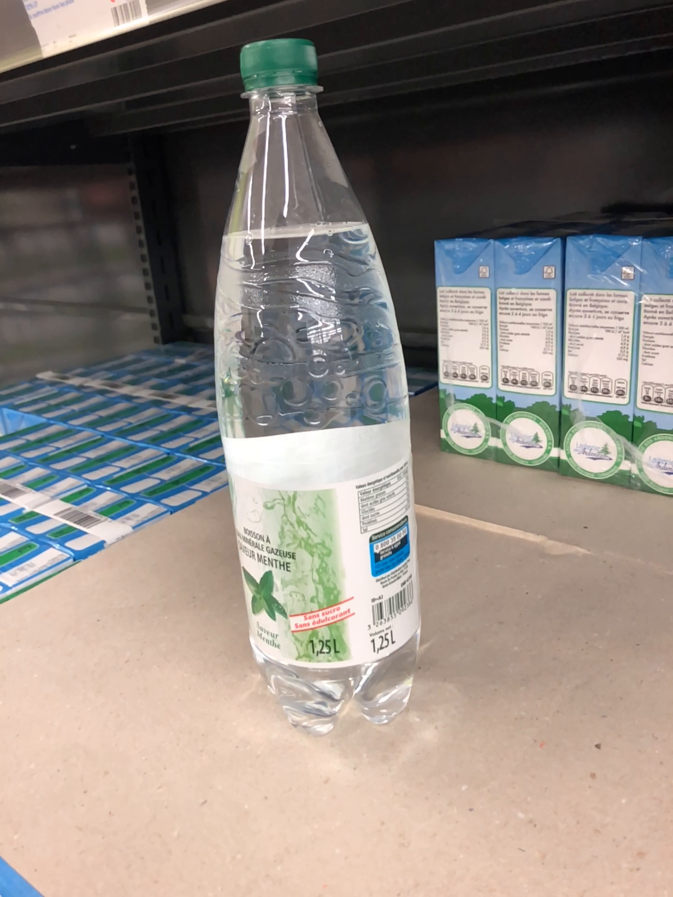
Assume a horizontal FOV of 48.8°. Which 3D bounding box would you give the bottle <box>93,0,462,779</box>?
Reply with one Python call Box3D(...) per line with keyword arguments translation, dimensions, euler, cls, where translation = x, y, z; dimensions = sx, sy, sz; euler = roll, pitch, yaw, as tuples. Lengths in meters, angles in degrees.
Box3D(translation=(-0.016, -0.021, 0.334), dimensions=(0.100, 0.299, 0.090), euler=(13, 26, 43), cls="bottle")
